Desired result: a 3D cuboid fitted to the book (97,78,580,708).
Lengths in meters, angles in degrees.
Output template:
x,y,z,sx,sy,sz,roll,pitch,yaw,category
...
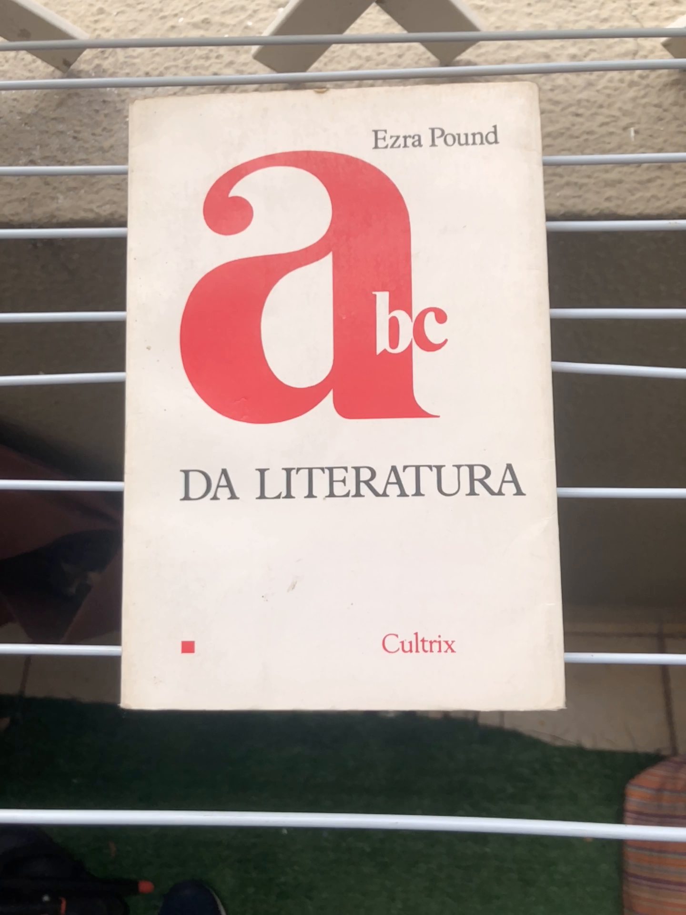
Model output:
x,y,z,sx,sy,sz,roll,pitch,yaw,category
-0.003,-0.020,0.237,0.140,0.017,0.187,-1,85,3,book
